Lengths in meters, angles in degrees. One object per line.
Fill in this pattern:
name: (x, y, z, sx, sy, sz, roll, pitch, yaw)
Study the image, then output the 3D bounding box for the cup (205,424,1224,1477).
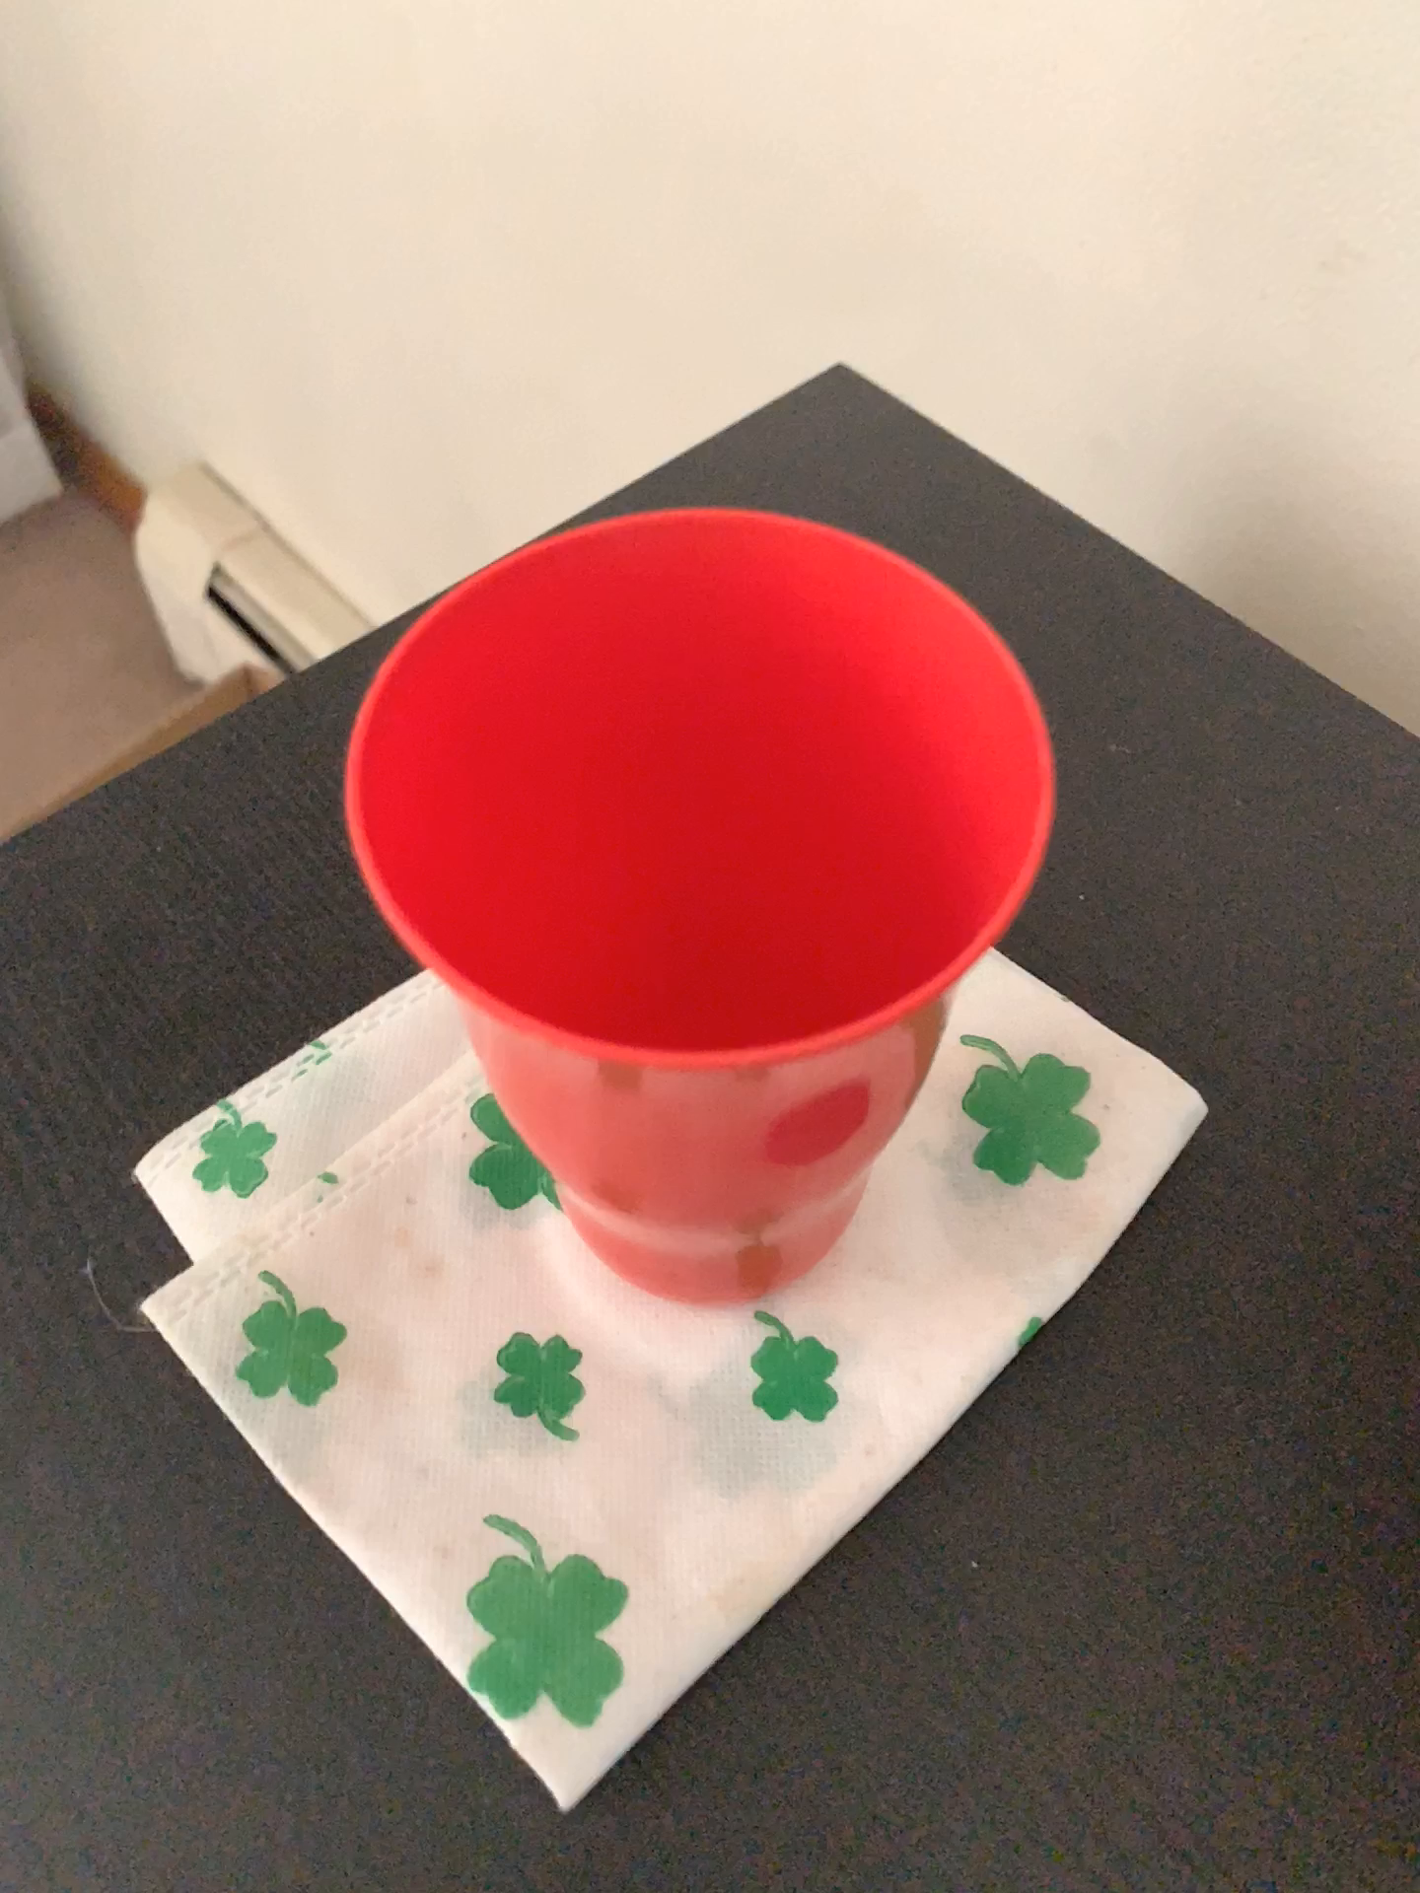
cup: (-0.003, 0.003, 0.196, 0.082, 0.091, 0.080, 0, 57, -1)
